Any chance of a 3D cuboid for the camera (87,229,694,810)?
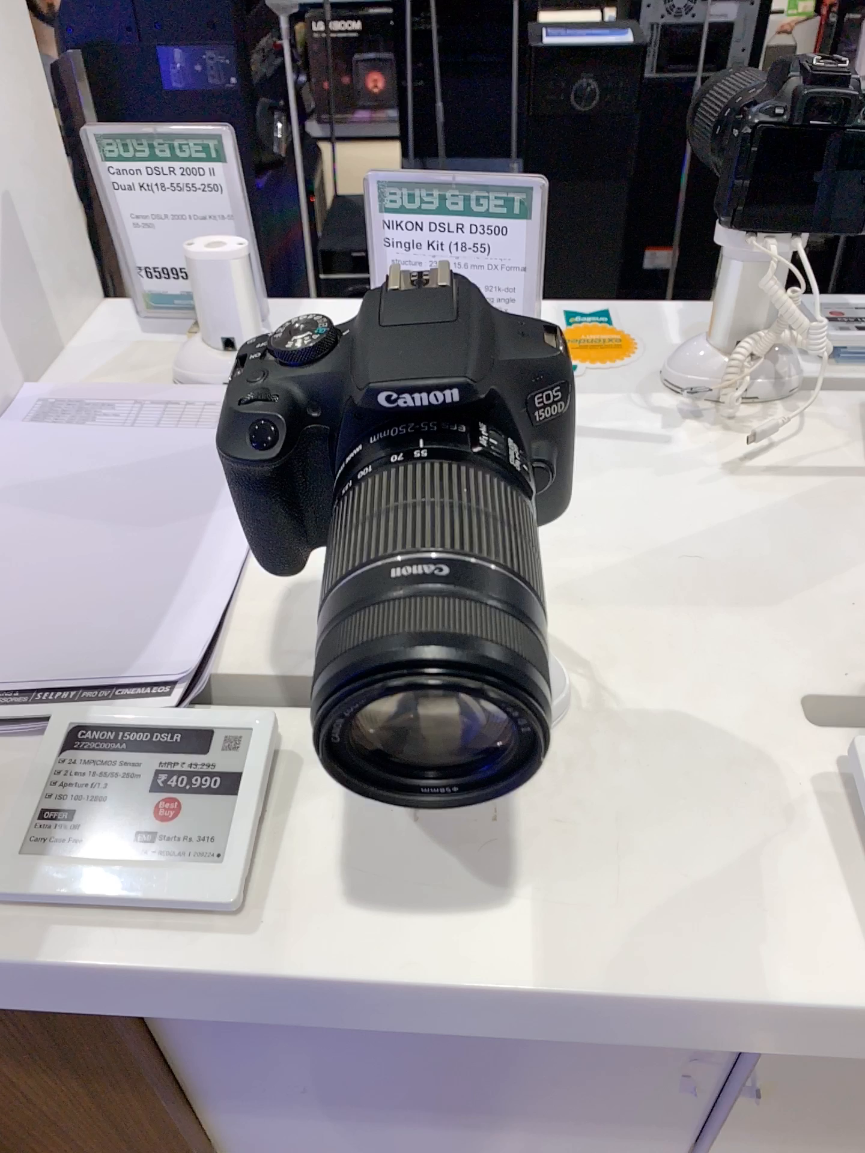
[{"bbox_3d":[-0.008,-0.032,0.291,0.130,0.090,0.191,-1,41,1],"label":"camera"}]
